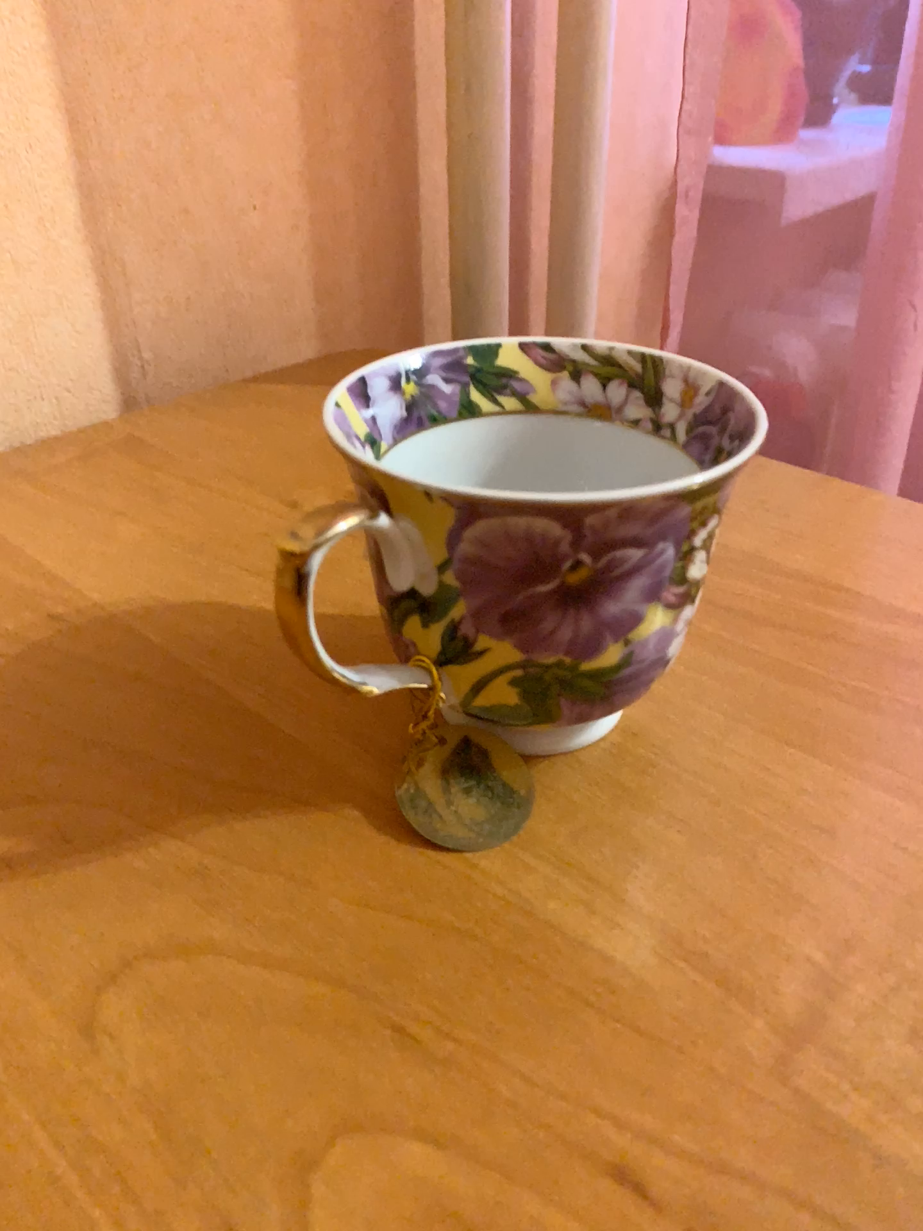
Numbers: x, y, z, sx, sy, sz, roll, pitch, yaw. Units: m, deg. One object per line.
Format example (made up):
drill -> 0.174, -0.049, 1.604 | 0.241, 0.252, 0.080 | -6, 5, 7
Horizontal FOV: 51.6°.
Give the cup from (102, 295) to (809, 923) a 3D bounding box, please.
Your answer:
cup -> 0.003, -0.014, 0.195 | 0.109, 0.069, 0.077 | -28, 41, -36
